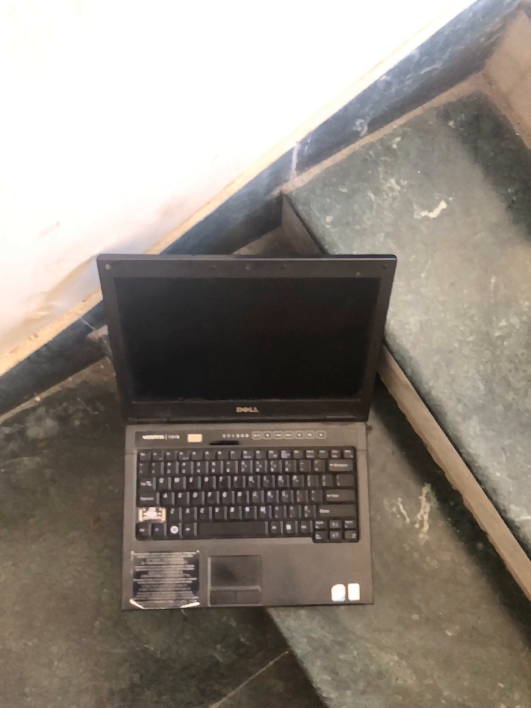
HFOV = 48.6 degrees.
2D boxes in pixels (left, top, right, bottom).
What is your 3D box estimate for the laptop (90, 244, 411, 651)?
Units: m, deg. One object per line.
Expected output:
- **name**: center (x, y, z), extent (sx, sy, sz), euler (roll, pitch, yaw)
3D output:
- **laptop**: center (-0.018, 0.095, 0.655), extent (0.301, 0.169, 0.386), euler (0, 83, -3)
